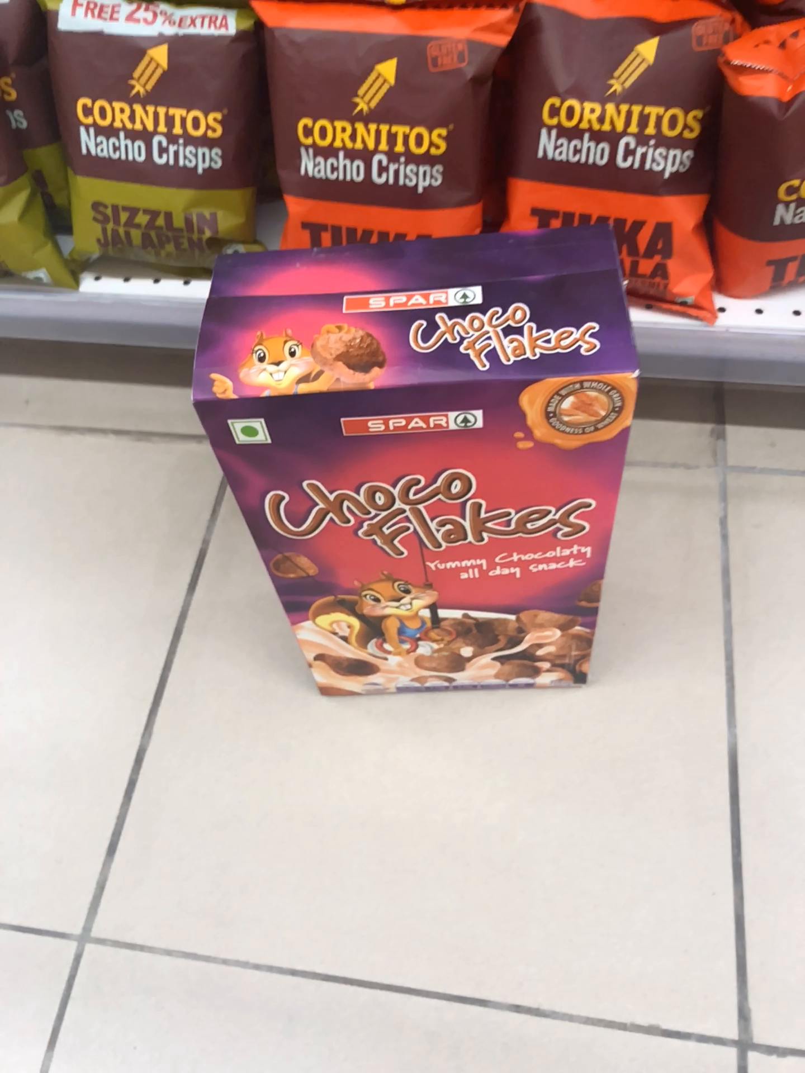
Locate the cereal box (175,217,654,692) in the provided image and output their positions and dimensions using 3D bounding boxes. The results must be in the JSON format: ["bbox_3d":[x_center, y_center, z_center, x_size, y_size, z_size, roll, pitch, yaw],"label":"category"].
[{"bbox_3d":[0.019,-0.016,0.543,0.200,0.339,0.090,-3,59,4],"label":"cereal box"}]
